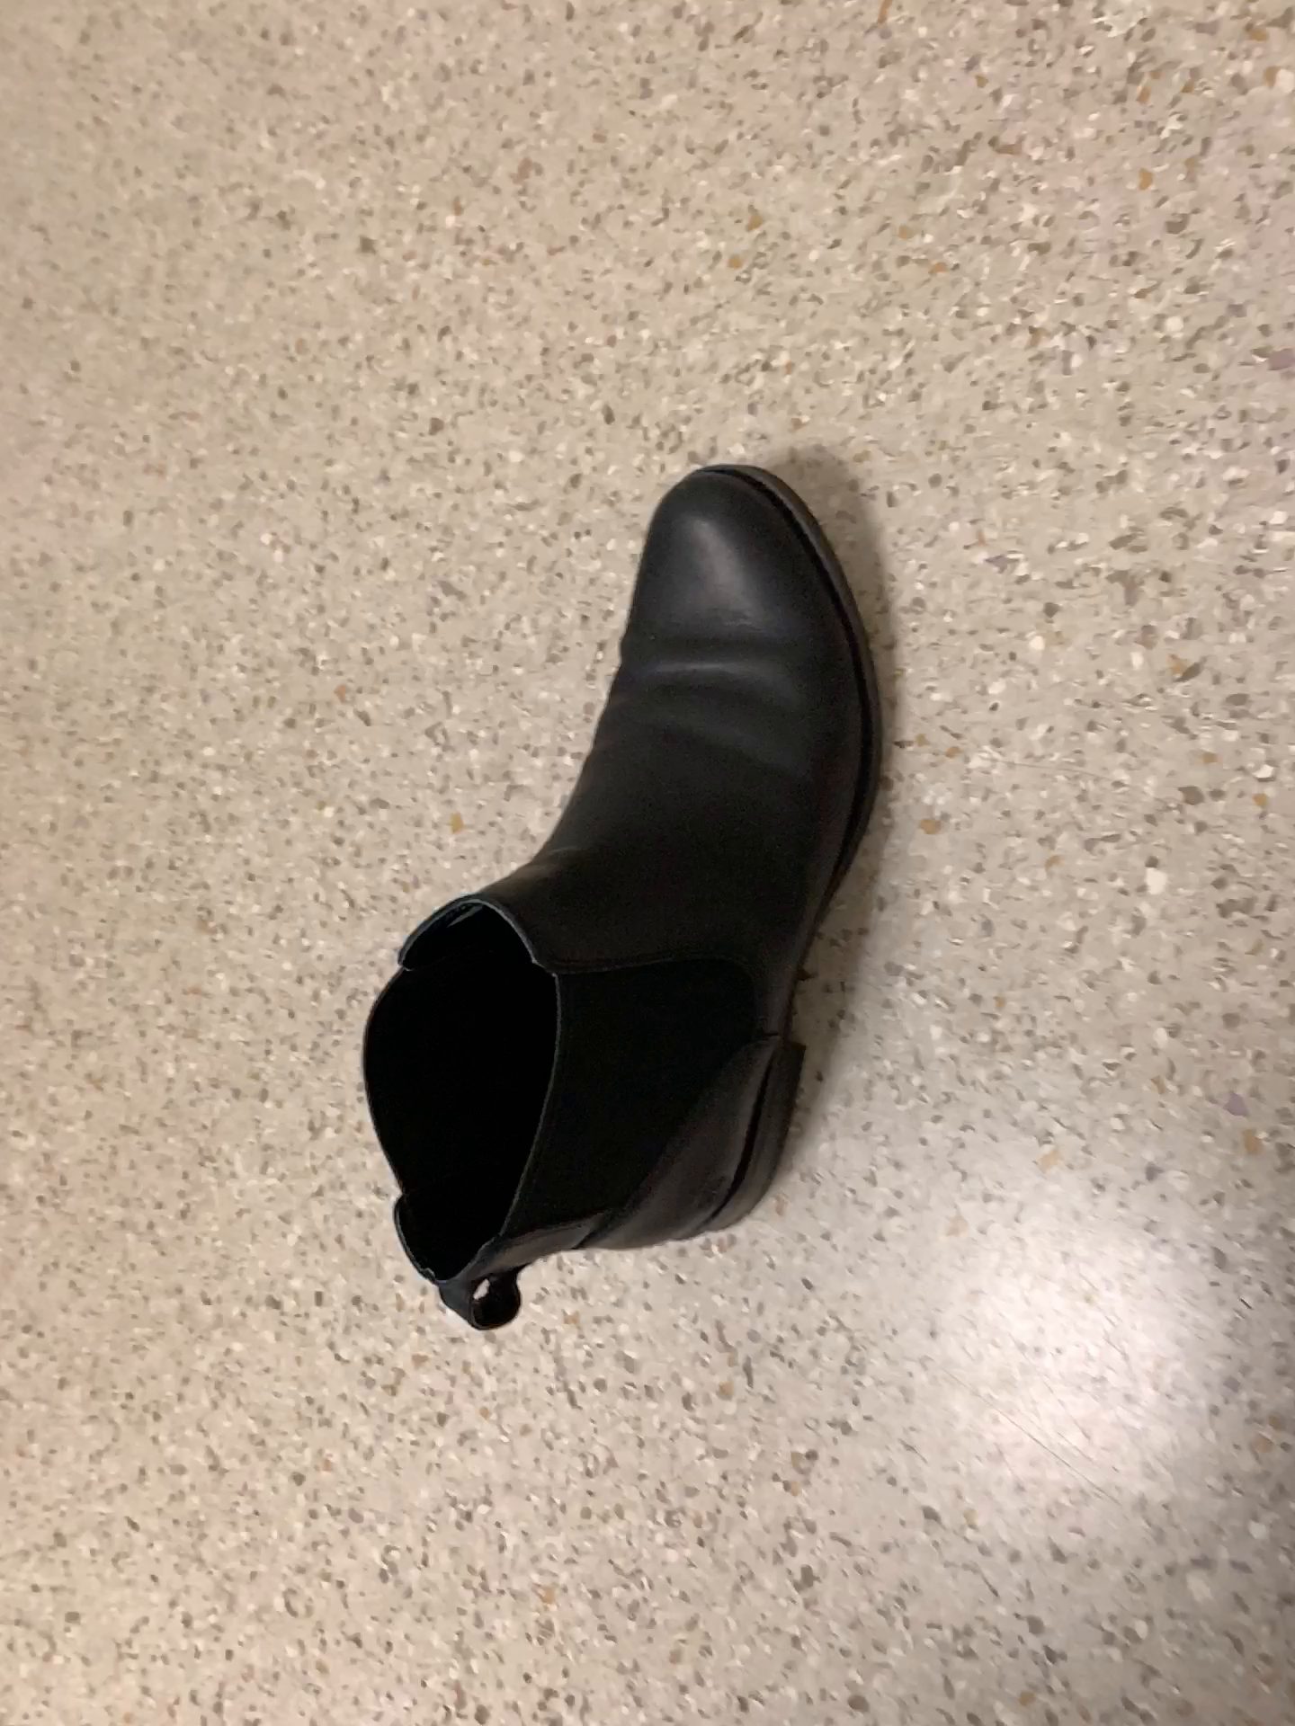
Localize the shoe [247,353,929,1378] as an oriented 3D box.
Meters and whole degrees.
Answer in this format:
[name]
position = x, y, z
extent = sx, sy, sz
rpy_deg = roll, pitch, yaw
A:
[shoe]
position = -0.010, 0.000, 0.433
extent = 0.108, 0.163, 0.262
rpy_deg = 10, 91, 33
